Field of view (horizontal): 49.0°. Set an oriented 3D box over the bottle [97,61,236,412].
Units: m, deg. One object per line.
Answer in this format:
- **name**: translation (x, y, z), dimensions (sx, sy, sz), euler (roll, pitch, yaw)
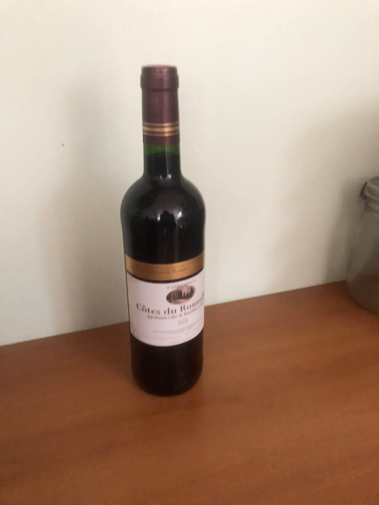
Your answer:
- **bottle**: translation (-0.021, -0.006, 0.362), dimensions (0.080, 0.288, 0.080), euler (0, 26, 0)
